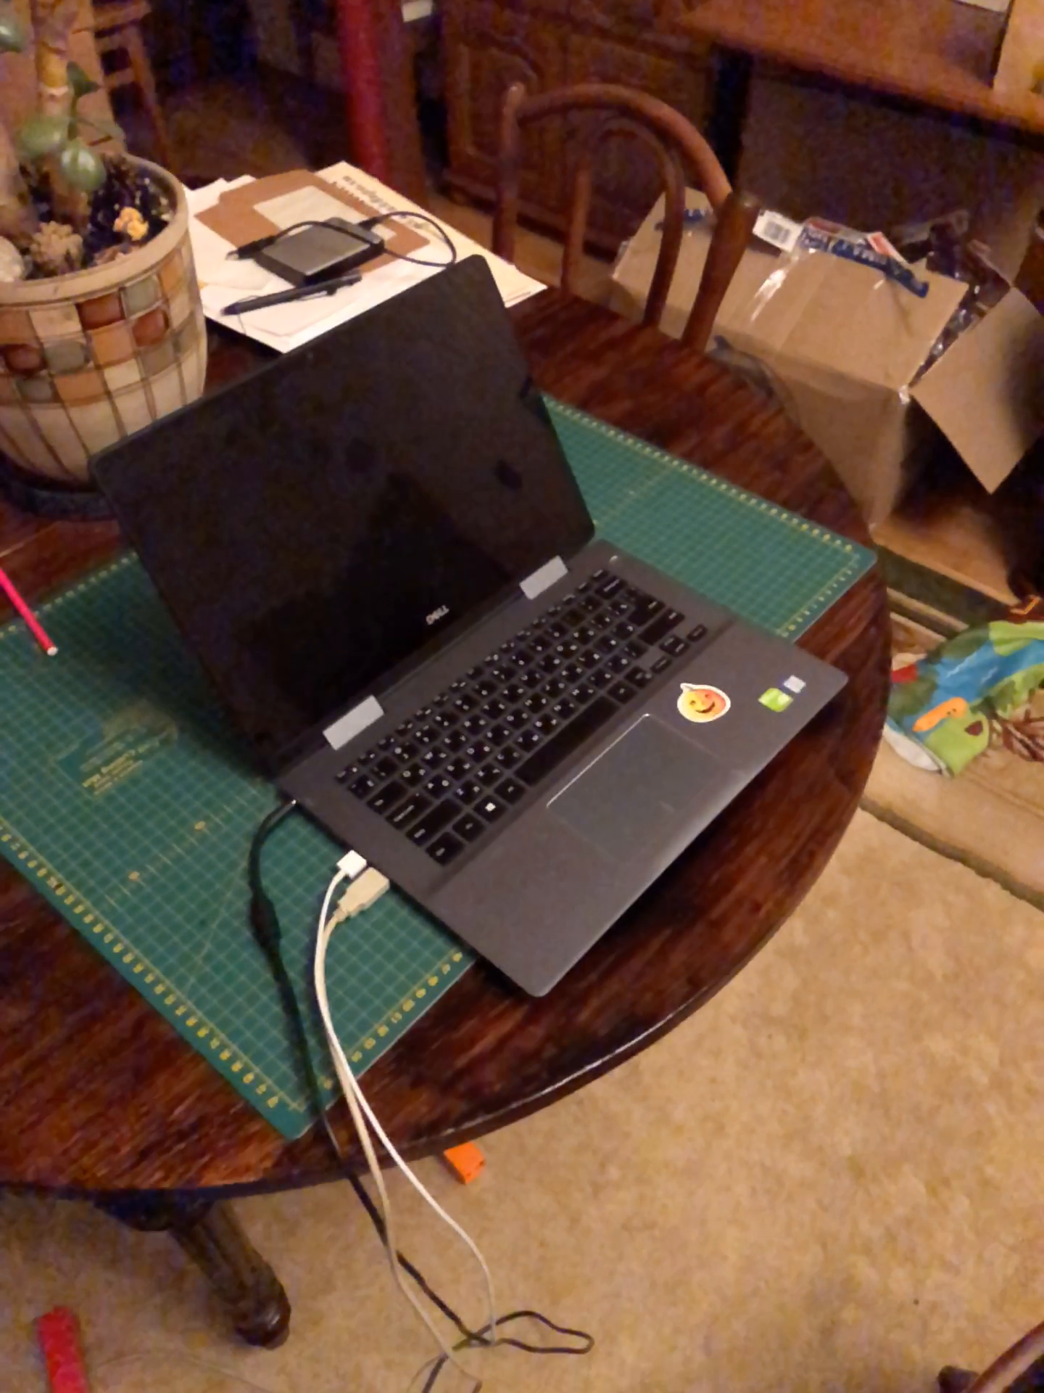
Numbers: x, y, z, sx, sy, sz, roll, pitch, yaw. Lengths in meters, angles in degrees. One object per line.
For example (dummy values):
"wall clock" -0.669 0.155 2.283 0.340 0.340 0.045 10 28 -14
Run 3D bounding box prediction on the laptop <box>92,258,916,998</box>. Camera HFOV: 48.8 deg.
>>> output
"laptop" -0.008 -0.070 0.722 0.337 0.192 0.322 34 57 27
